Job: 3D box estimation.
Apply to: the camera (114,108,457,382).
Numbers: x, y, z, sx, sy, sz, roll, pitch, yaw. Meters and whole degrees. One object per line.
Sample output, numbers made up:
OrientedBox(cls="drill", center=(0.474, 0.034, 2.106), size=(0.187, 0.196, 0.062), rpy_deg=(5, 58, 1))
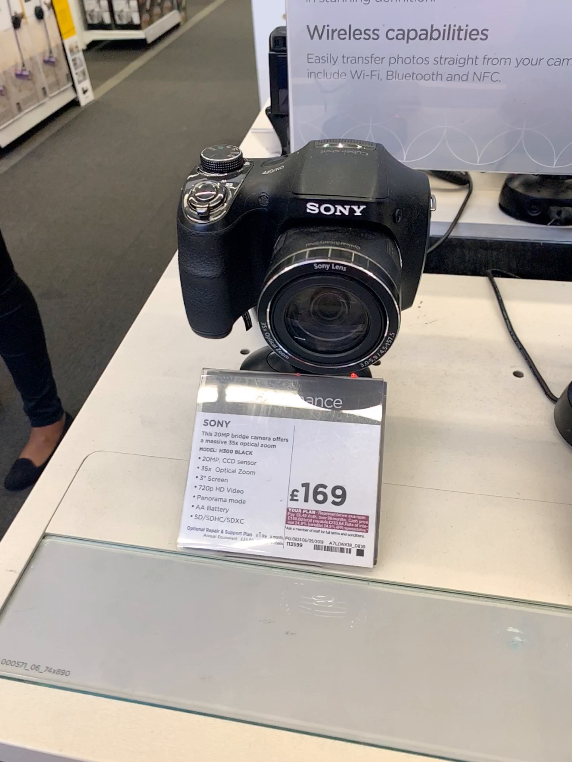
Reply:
OrientedBox(cls="camera", center=(0.006, -0.069, 0.282), size=(0.130, 0.089, 0.091), rpy_deg=(5, 42, 9))
